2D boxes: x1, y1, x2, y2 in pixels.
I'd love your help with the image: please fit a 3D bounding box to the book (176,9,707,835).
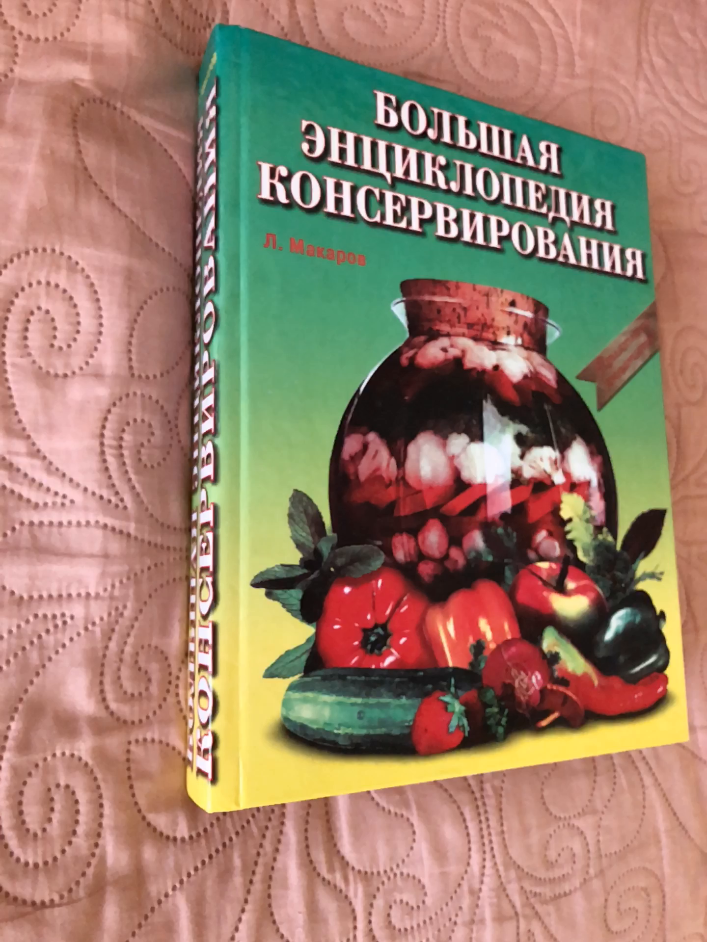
[{"bbox_3d":[0.042,-0.018,0.325,0.217,0.050,0.272,3,79,-28],"label":"book"}]
